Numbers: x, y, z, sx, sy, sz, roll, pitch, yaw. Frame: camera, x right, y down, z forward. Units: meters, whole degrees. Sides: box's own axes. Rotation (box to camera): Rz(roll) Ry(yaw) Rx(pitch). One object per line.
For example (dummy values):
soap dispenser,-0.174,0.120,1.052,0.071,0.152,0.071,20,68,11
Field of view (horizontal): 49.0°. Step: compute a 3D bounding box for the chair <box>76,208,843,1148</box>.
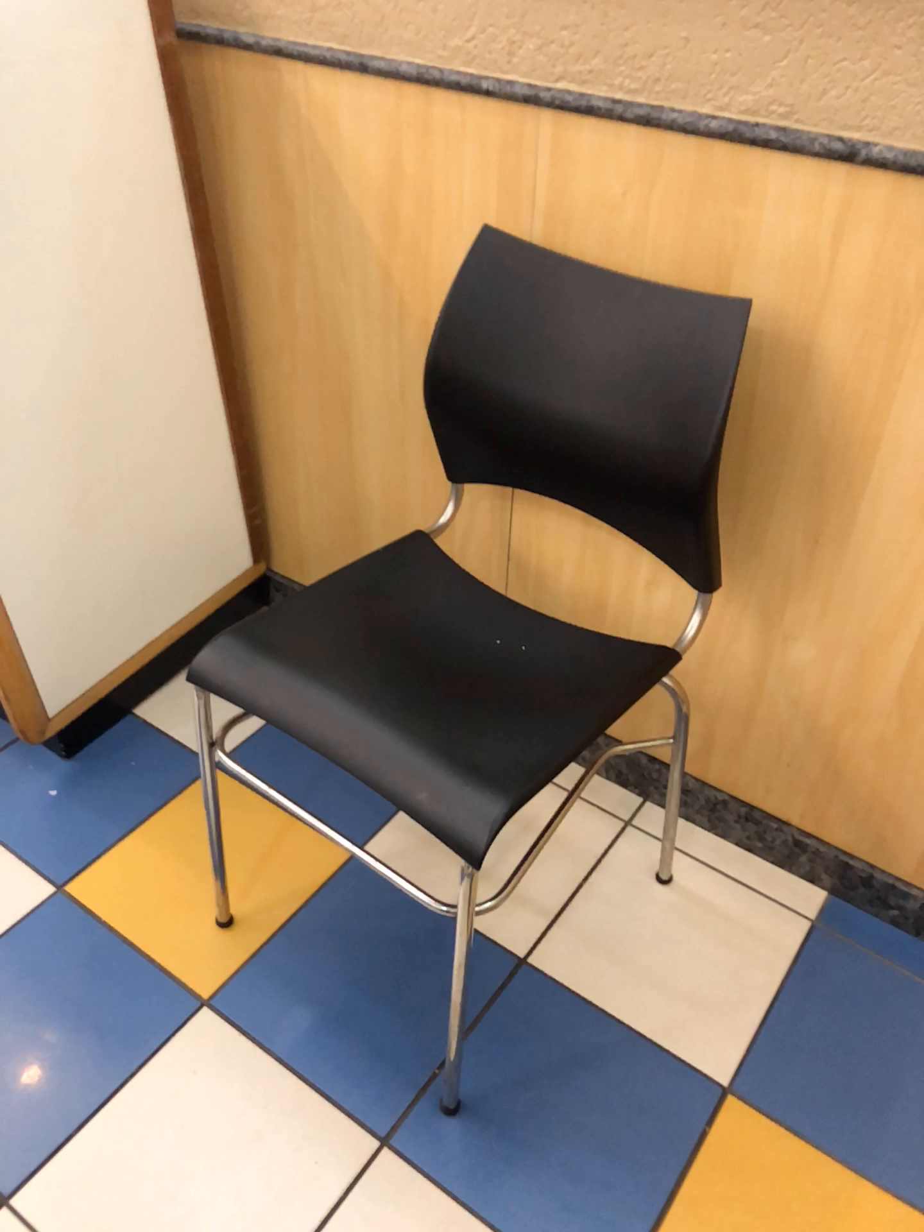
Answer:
chair,0.007,0.064,1.251,0.511,0.873,0.553,27,45,29
